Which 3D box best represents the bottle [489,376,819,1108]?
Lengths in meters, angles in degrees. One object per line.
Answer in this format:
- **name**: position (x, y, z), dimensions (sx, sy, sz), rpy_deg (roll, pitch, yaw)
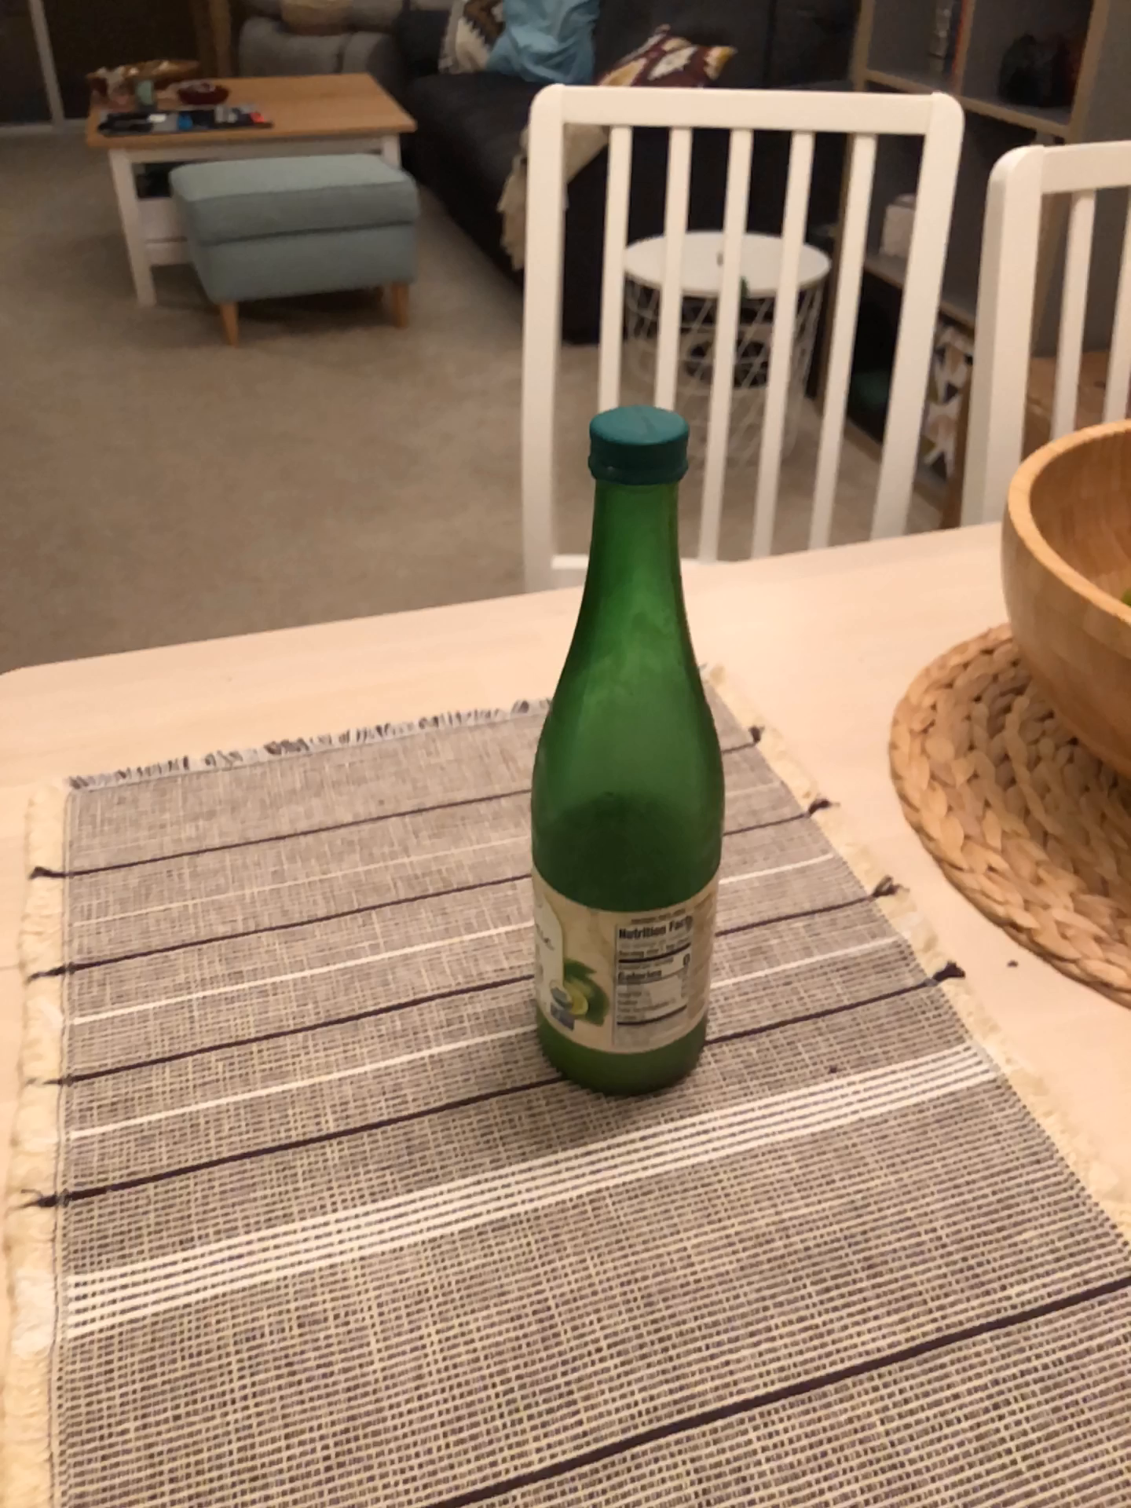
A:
- **bottle**: position (0.020, 0.006, 0.416), dimensions (0.081, 0.236, 0.080), rpy_deg (0, 36, 0)
